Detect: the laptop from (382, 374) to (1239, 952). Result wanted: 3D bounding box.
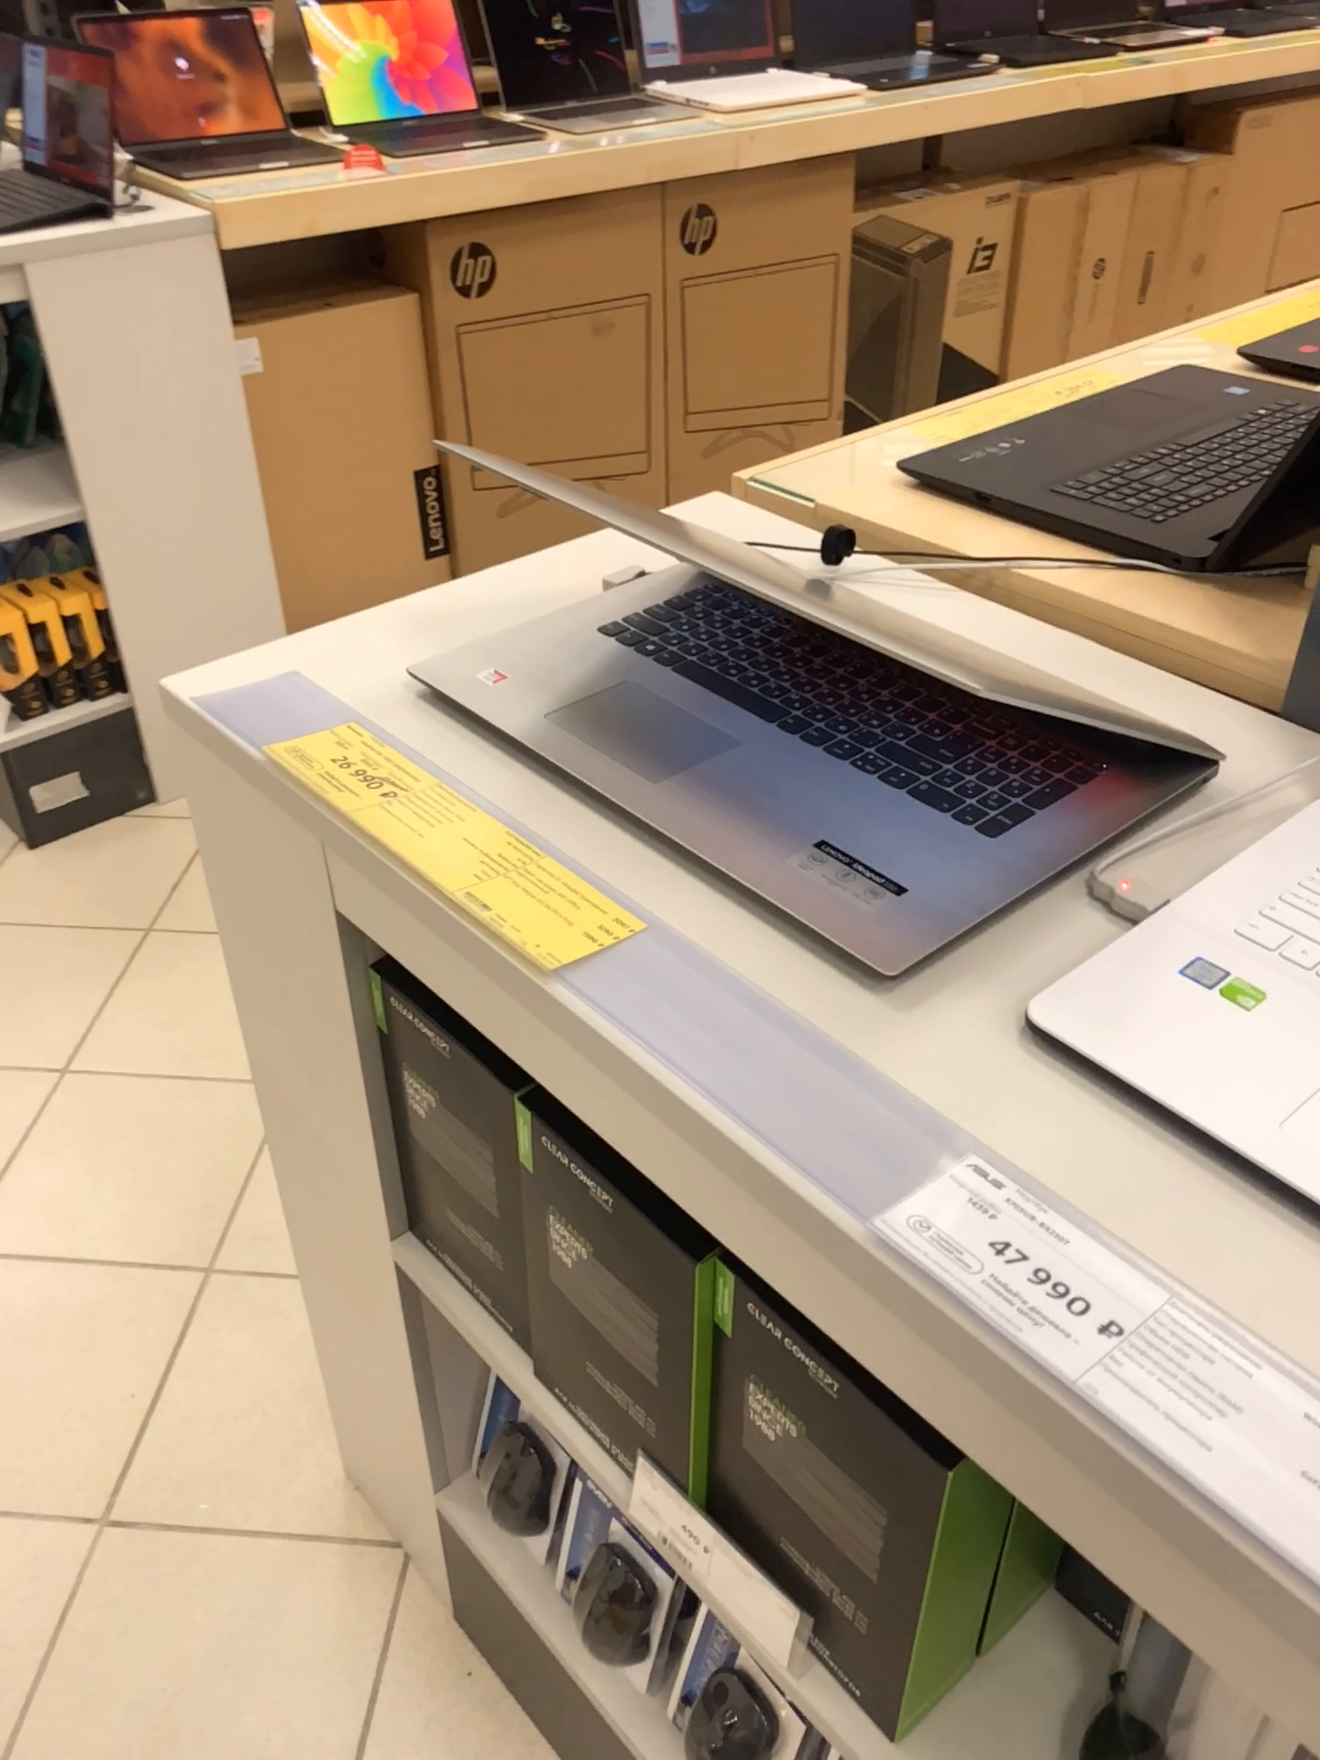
[{"bbox_3d":[0.069,-0.159,0.839,0.277,0.129,0.399,-27,43,-32],"label":"laptop"}]
